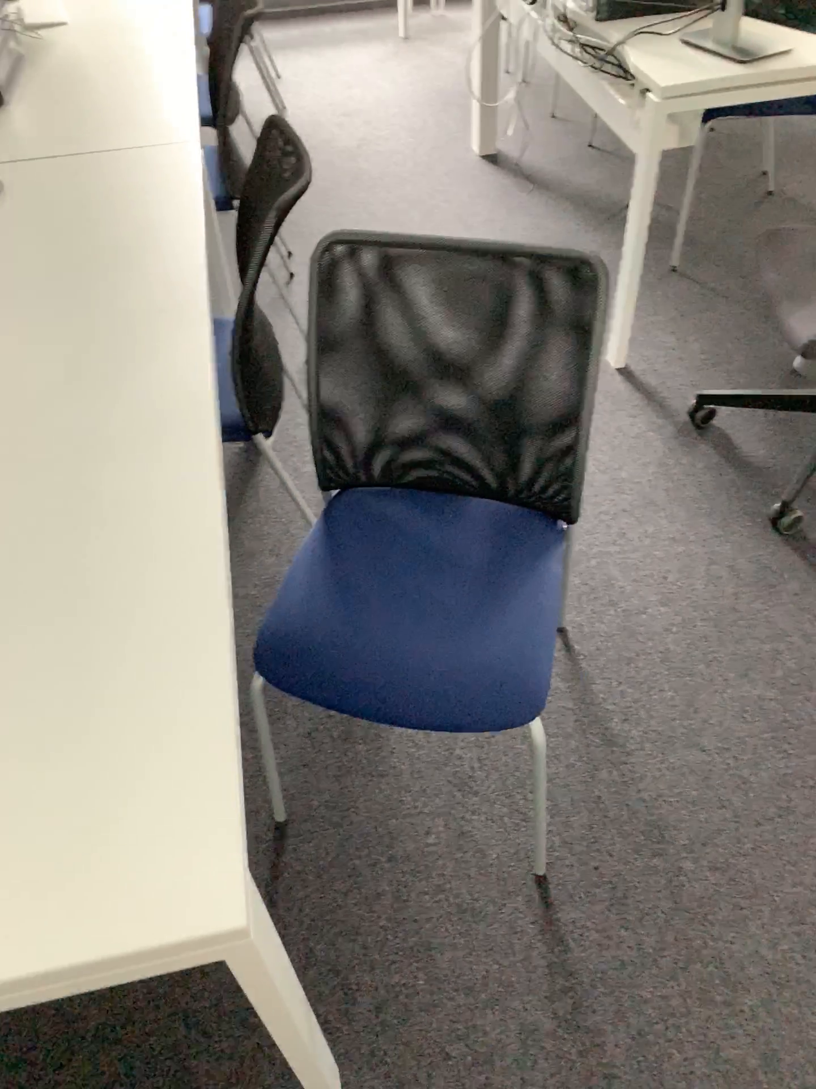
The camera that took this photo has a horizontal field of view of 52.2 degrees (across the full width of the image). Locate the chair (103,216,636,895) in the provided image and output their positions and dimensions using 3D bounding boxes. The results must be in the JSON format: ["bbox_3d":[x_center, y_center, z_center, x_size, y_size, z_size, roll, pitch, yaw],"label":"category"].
[{"bbox_3d":[0.017,0.049,1.369,0.540,0.896,0.603,8,47,10],"label":"chair"}]
